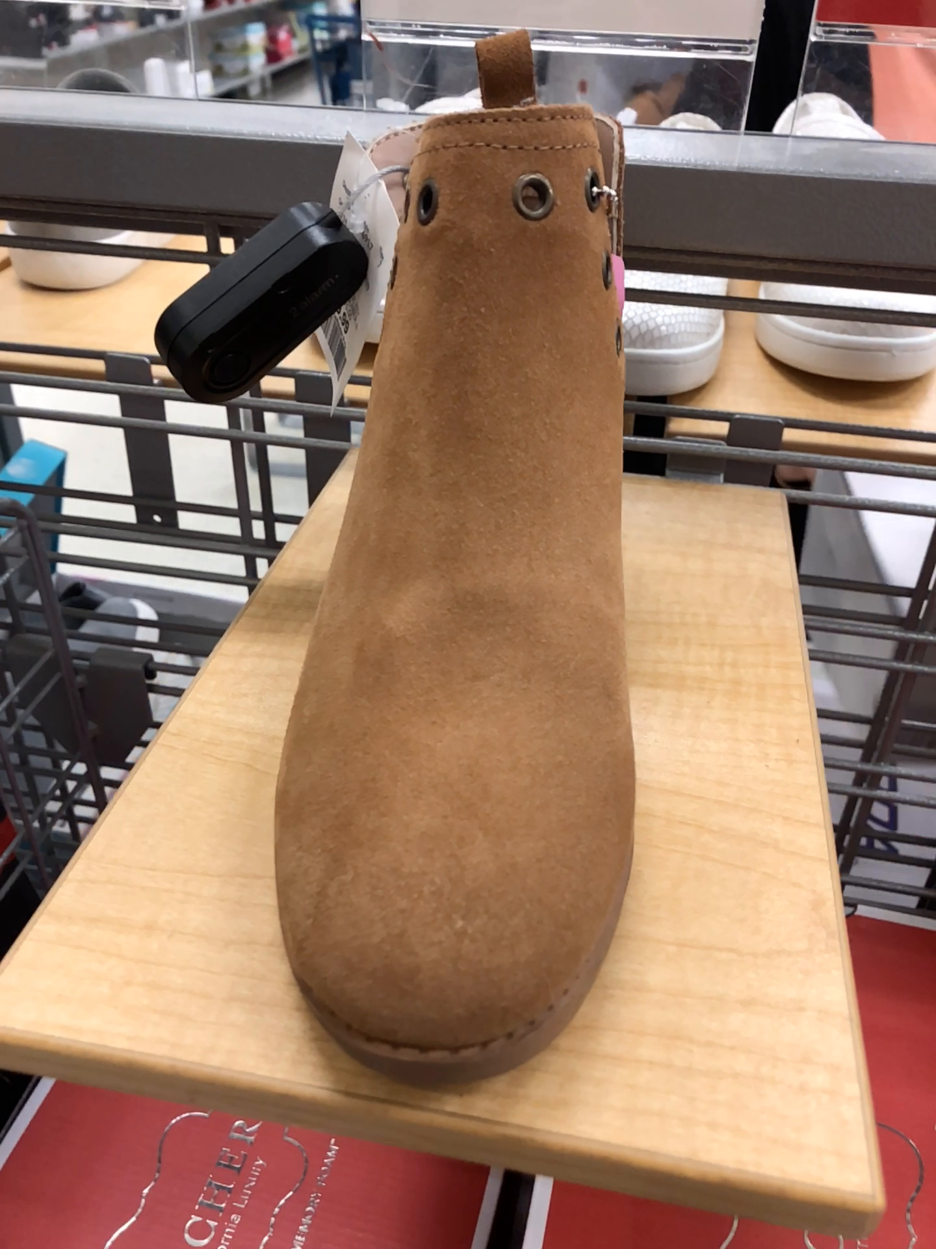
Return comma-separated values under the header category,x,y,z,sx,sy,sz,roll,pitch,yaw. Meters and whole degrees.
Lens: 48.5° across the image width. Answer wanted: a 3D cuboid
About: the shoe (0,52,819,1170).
category,x,y,z,sx,sy,sz,roll,pitch,yaw
shoe,0.003,-0.047,0.255,0.092,0.129,0.282,6,36,5
